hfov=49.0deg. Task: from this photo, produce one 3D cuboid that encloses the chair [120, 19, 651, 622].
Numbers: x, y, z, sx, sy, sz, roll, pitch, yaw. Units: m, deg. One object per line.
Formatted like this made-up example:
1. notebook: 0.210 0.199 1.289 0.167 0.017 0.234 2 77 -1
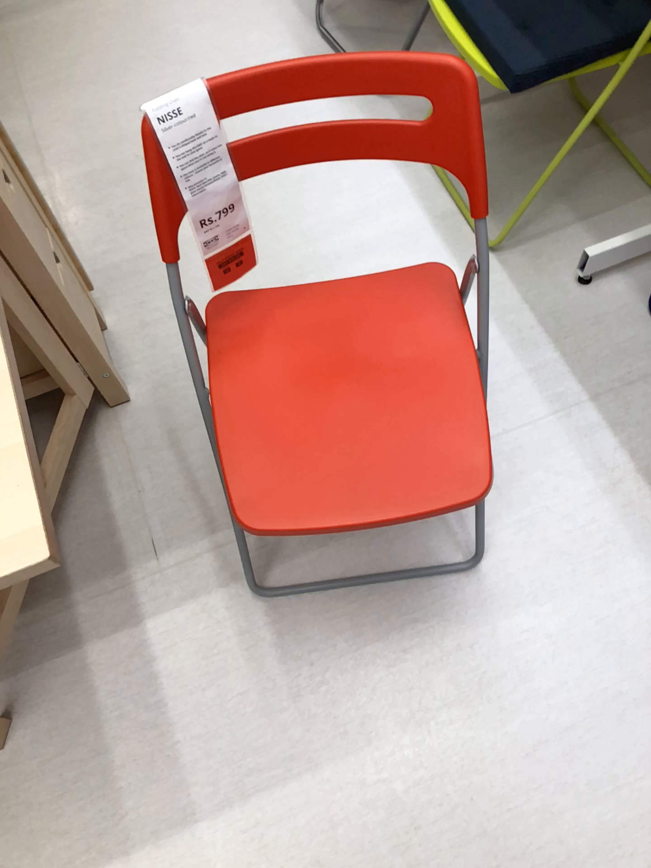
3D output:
1. chair: 0.040 -0.091 0.980 0.450 0.608 0.492 -9 62 0
